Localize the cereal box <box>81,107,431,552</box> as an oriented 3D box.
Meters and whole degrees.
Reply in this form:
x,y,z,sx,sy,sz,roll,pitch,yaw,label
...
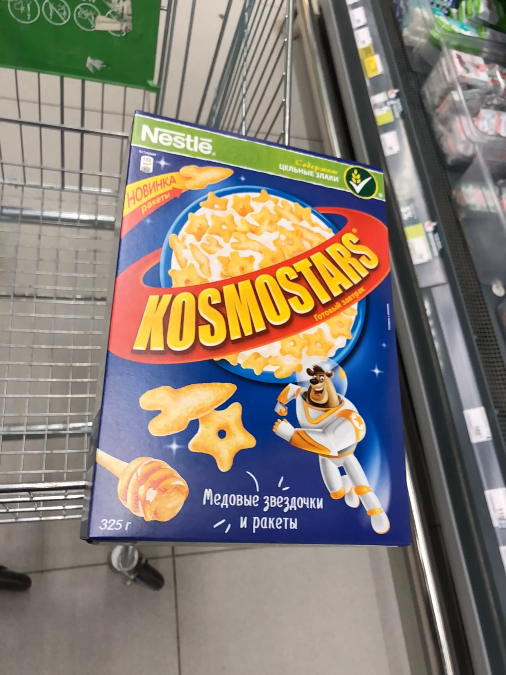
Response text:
x,y,z,sx,sy,sz,roll,pitch,yaw,label
0.004,-0.004,0.385,0.200,0.060,0.281,7,68,-16,cereal box
